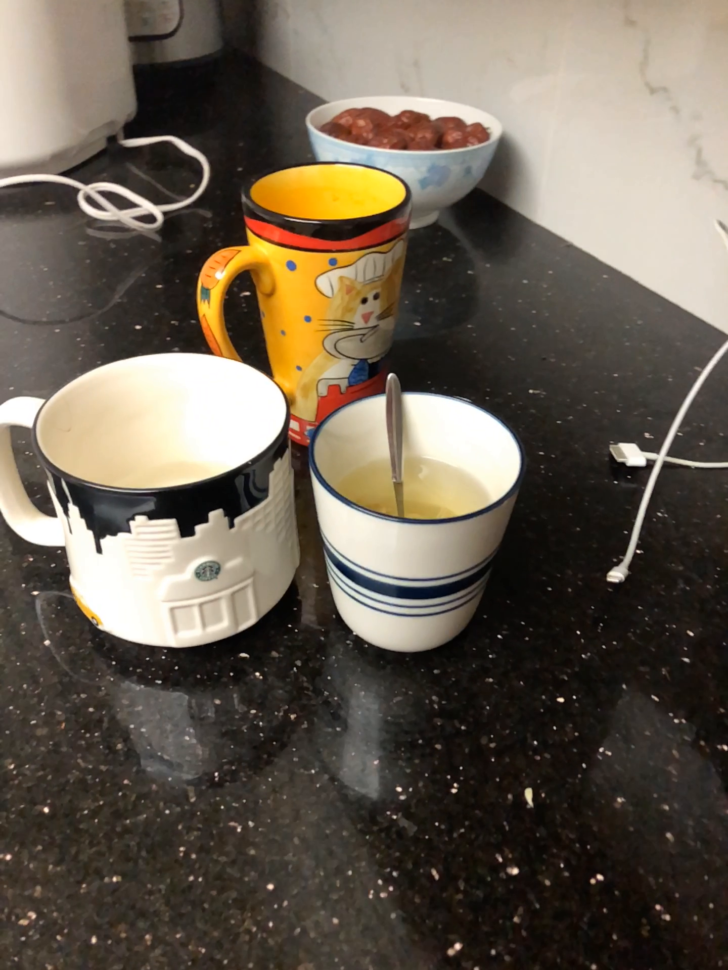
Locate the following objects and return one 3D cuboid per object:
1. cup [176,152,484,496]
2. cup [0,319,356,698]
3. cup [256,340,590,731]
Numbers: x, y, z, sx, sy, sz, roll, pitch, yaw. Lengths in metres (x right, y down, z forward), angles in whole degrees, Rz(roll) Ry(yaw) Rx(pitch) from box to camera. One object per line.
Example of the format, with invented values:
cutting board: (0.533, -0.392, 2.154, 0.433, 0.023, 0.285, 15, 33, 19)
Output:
cup: (-0.018, -0.090, 0.433, 0.120, 0.129, 0.090, -26, 47, -29)
cup: (-0.092, 0.004, 0.356, 0.150, 0.089, 0.111, 12, 40, 12)
cup: (0.026, 0.015, 0.338, 0.080, 0.089, 0.121, 23, 44, 24)
